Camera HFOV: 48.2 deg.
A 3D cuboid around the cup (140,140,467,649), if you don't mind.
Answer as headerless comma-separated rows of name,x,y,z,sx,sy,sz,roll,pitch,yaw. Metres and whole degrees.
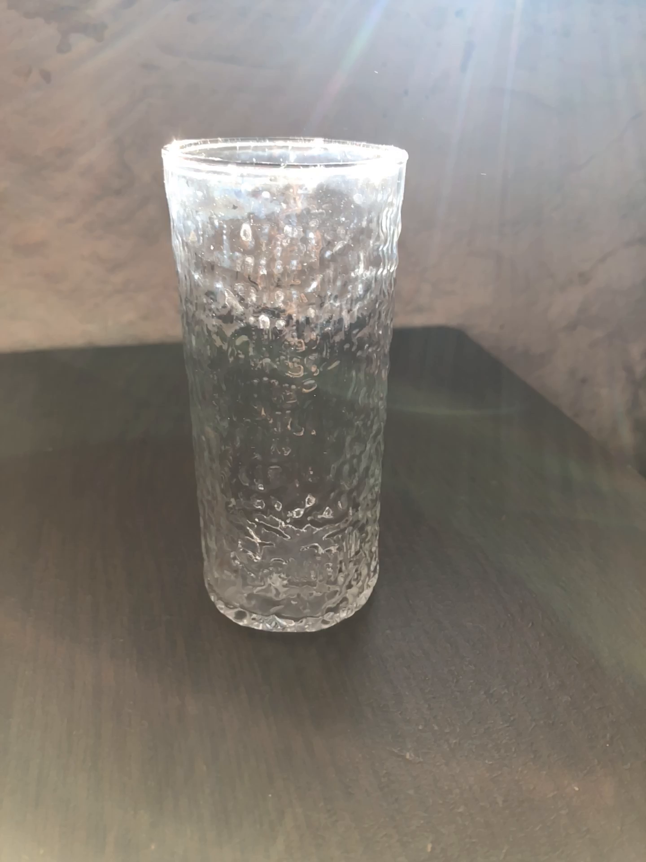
cup,-0.008,-0.013,0.213,0.070,0.130,0.068,1,25,0
